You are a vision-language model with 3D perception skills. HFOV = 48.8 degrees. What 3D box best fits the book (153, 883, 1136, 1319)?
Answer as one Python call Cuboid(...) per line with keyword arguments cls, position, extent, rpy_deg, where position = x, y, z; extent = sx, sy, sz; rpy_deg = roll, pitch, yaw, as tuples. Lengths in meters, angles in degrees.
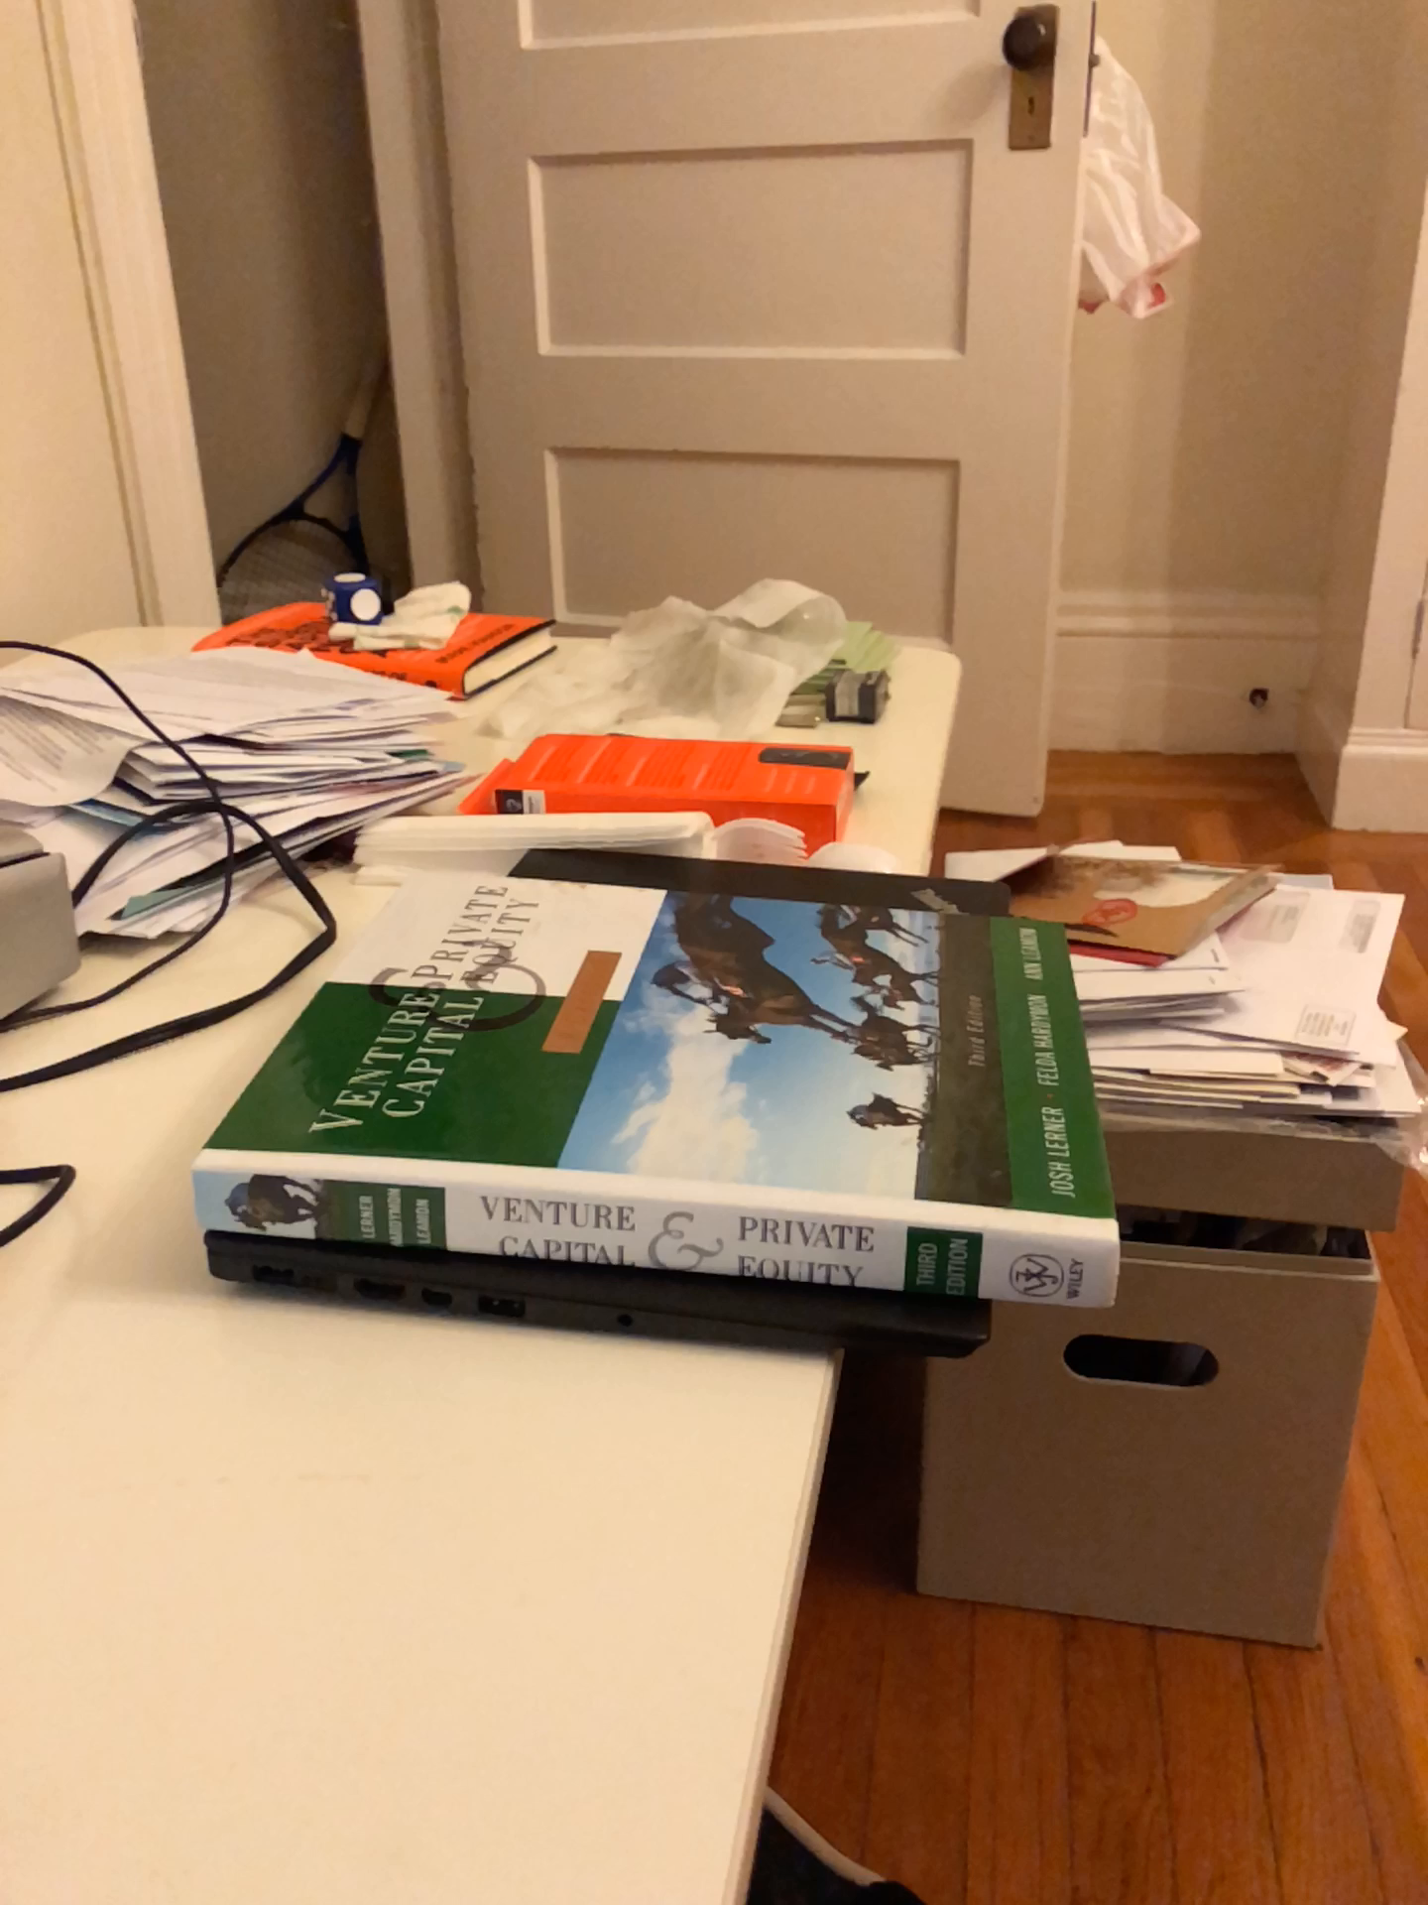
Cuboid(cls="book", position=(-0.011, 0.035, 0.534), extent=(0.270, 0.030, 0.221), rpy_deg=(3, 24, 6))
